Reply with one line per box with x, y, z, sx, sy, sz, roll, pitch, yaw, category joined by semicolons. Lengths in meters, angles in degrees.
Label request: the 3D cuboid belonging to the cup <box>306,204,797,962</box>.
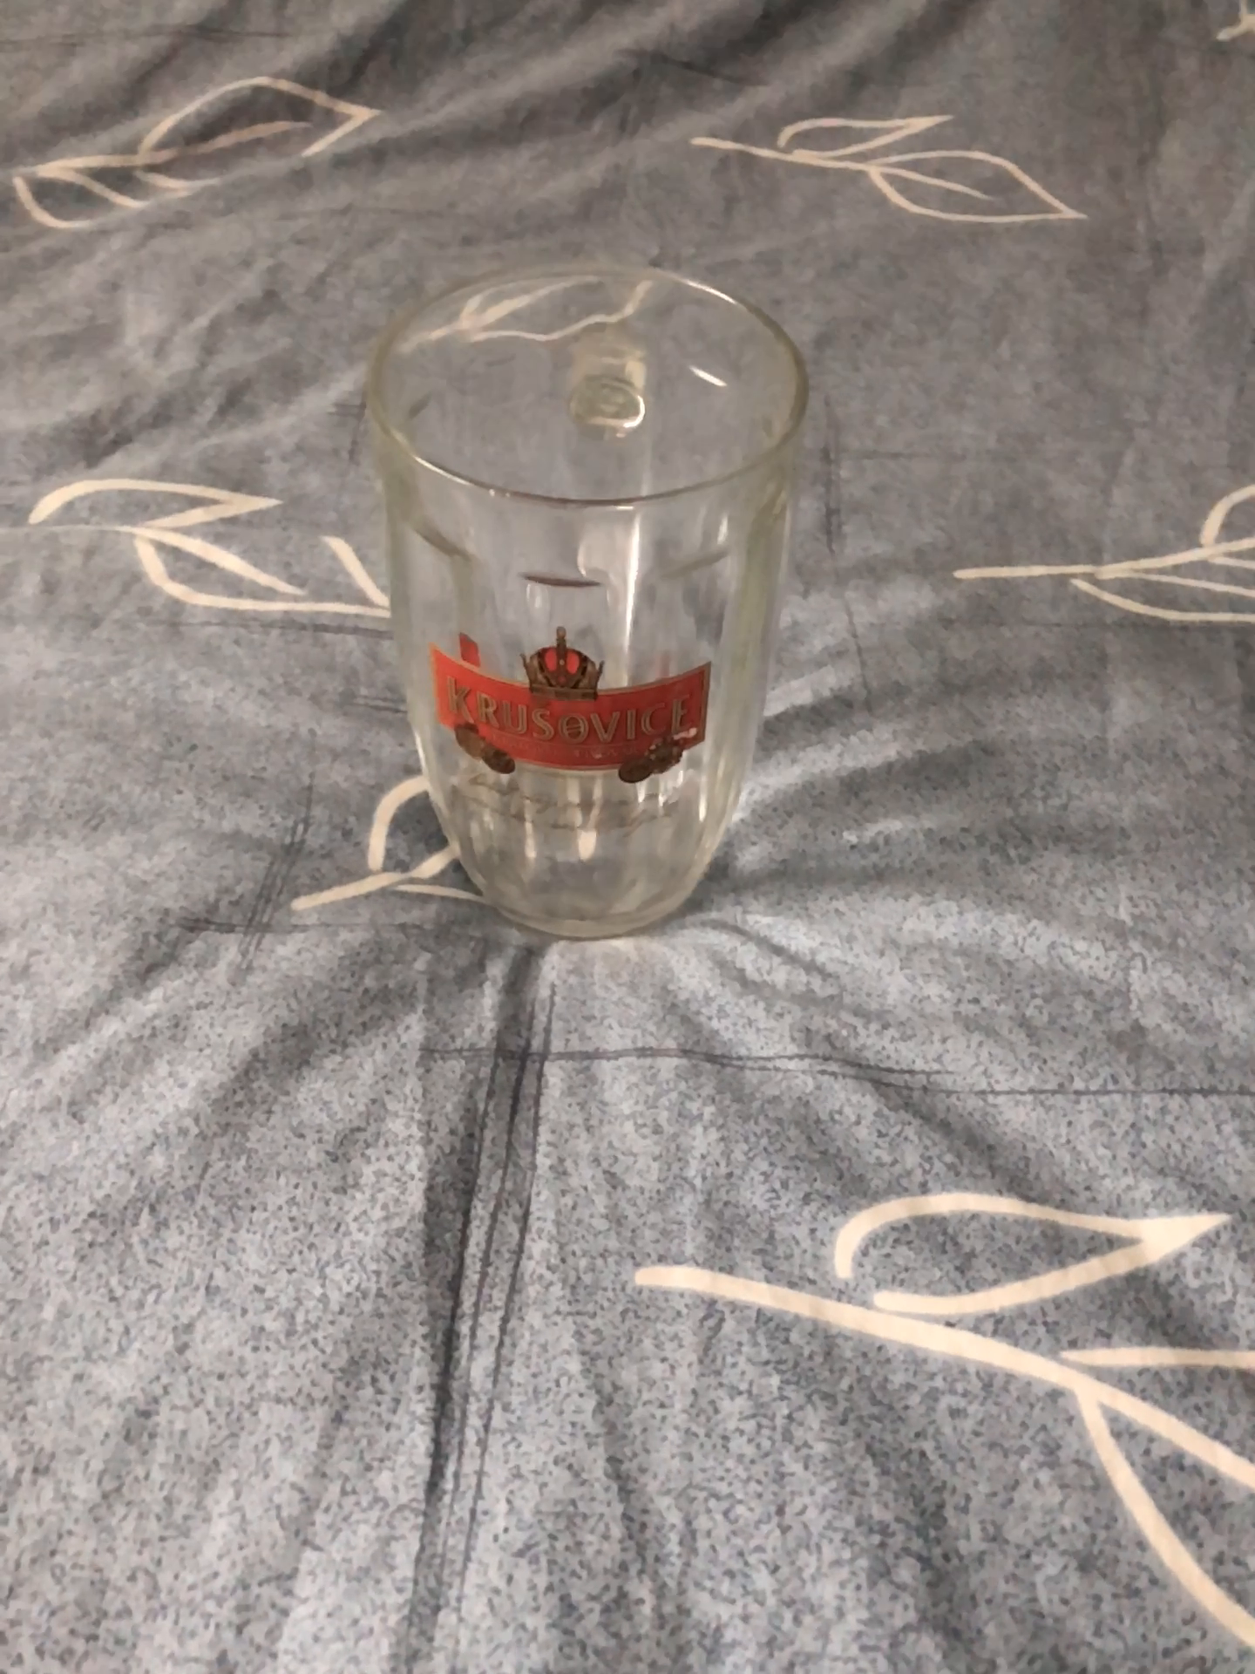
-0.008;-0.064;0.350;0.091;0.136;0.128;3;46;5;cup
